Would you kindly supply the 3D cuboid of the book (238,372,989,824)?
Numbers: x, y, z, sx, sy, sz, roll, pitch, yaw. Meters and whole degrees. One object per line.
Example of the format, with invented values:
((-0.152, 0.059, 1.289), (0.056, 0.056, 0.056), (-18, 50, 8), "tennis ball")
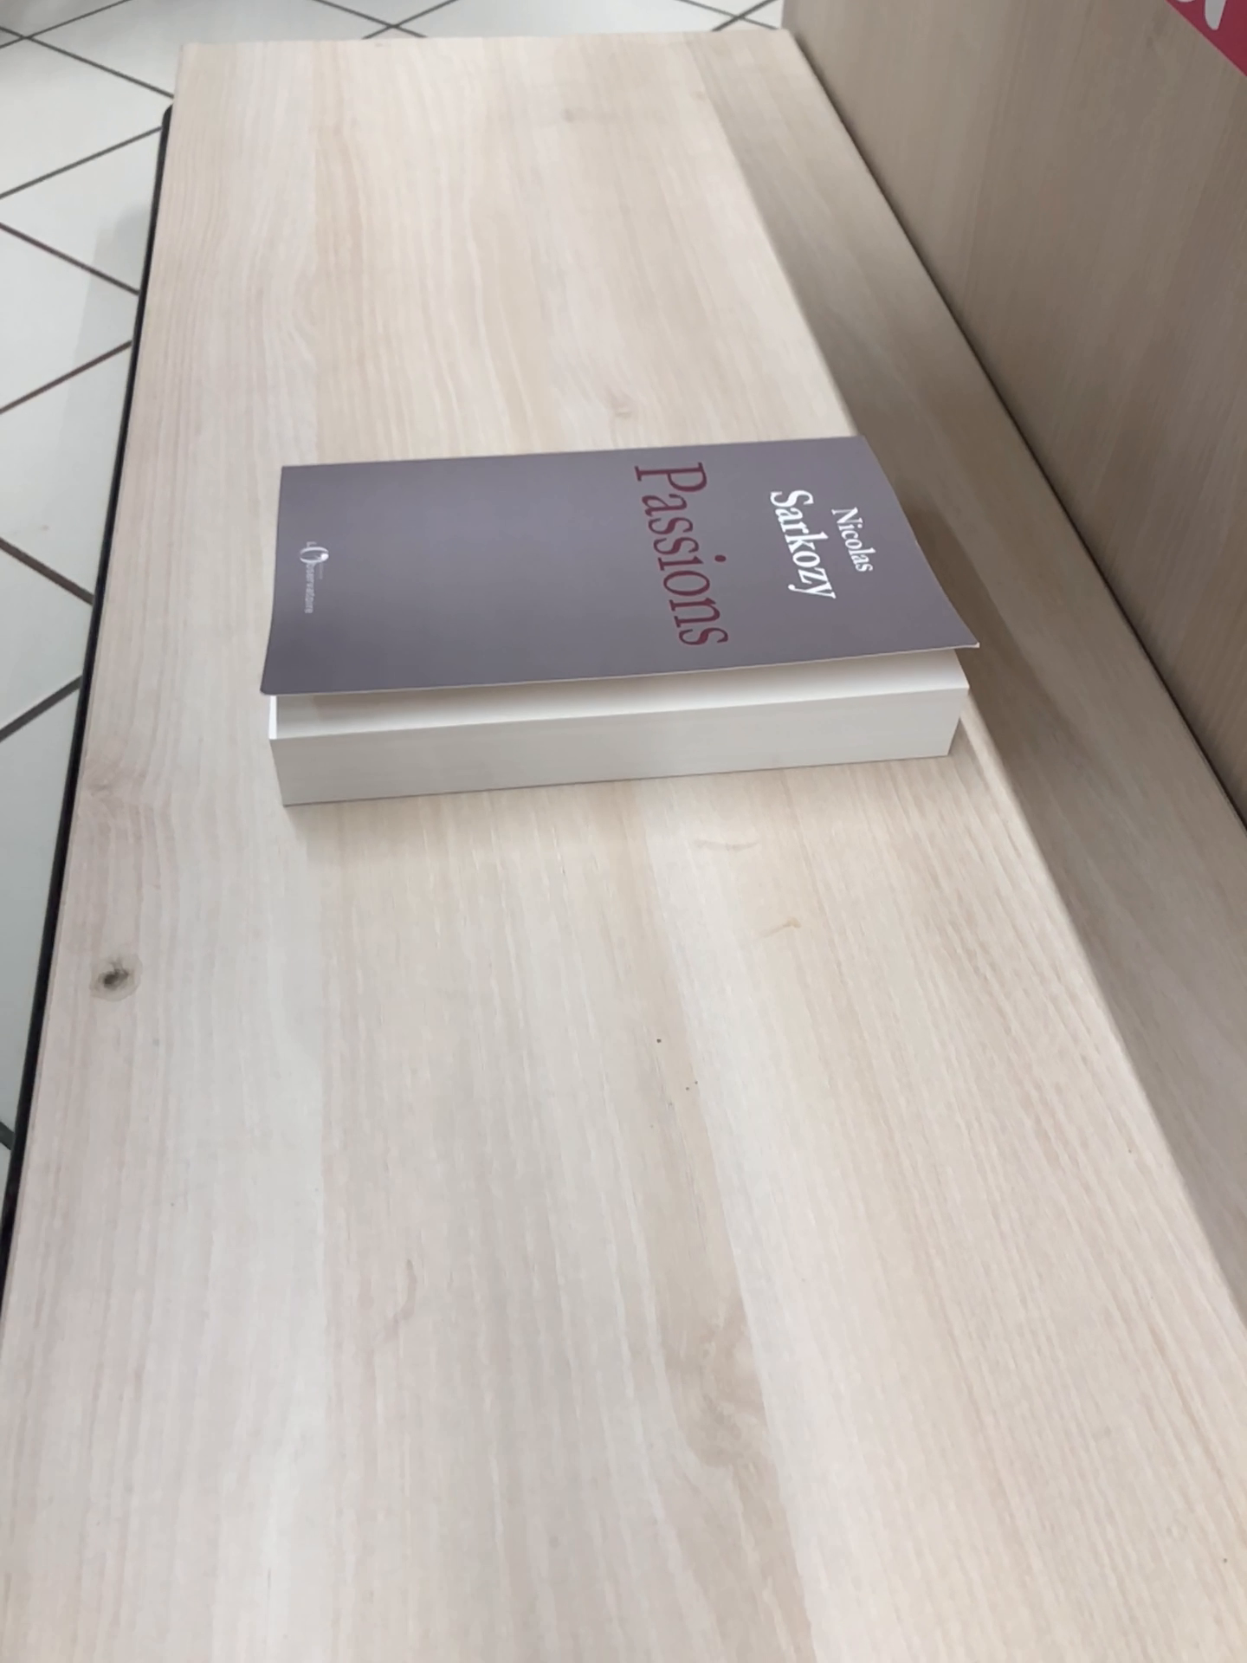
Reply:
((-0.011, -0.088, 0.472), (0.224, 0.044, 0.157), (-6, 51, -6), "book")
